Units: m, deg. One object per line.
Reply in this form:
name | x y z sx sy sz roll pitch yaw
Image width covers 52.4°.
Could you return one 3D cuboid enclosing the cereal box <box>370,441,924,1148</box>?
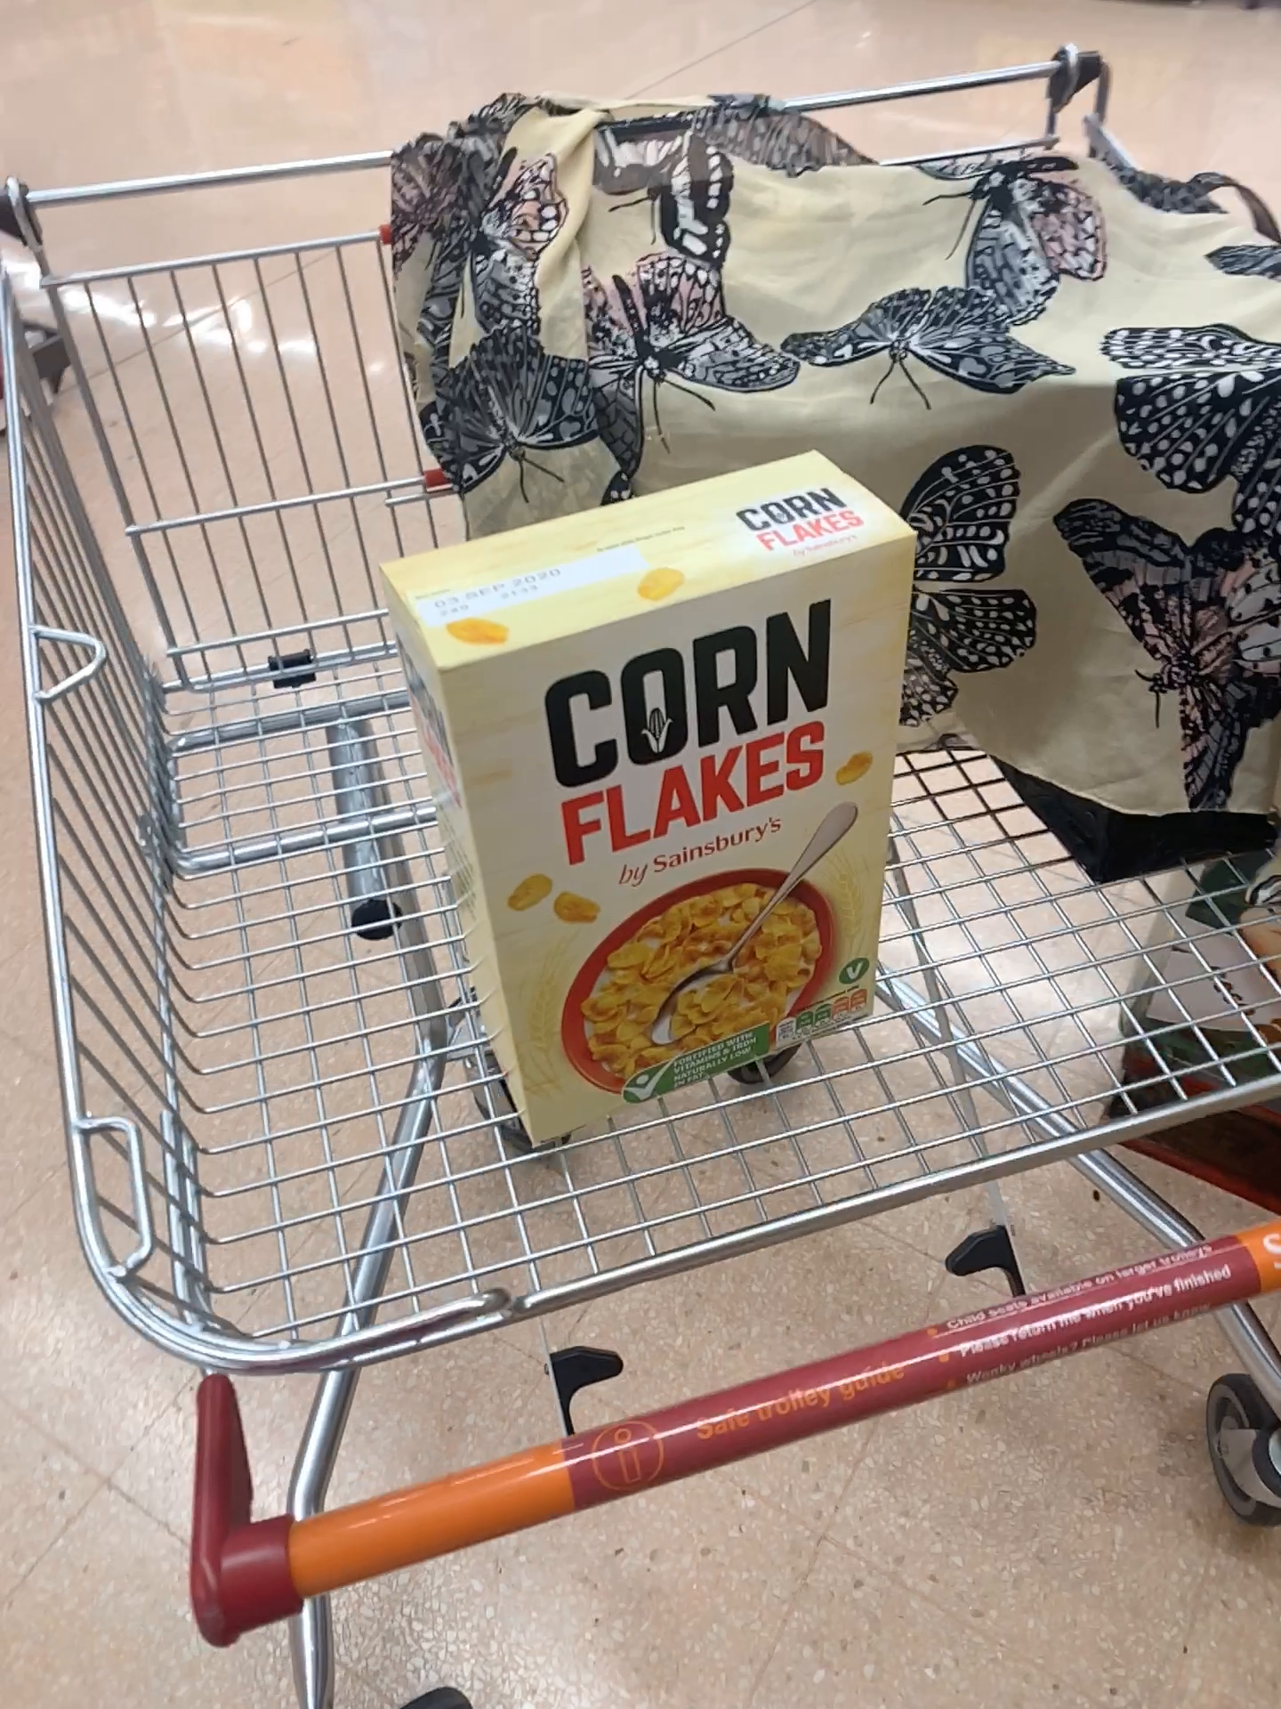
cereal box | 0.007 -0.016 0.579 0.190 0.277 0.081 -18 45 -16
